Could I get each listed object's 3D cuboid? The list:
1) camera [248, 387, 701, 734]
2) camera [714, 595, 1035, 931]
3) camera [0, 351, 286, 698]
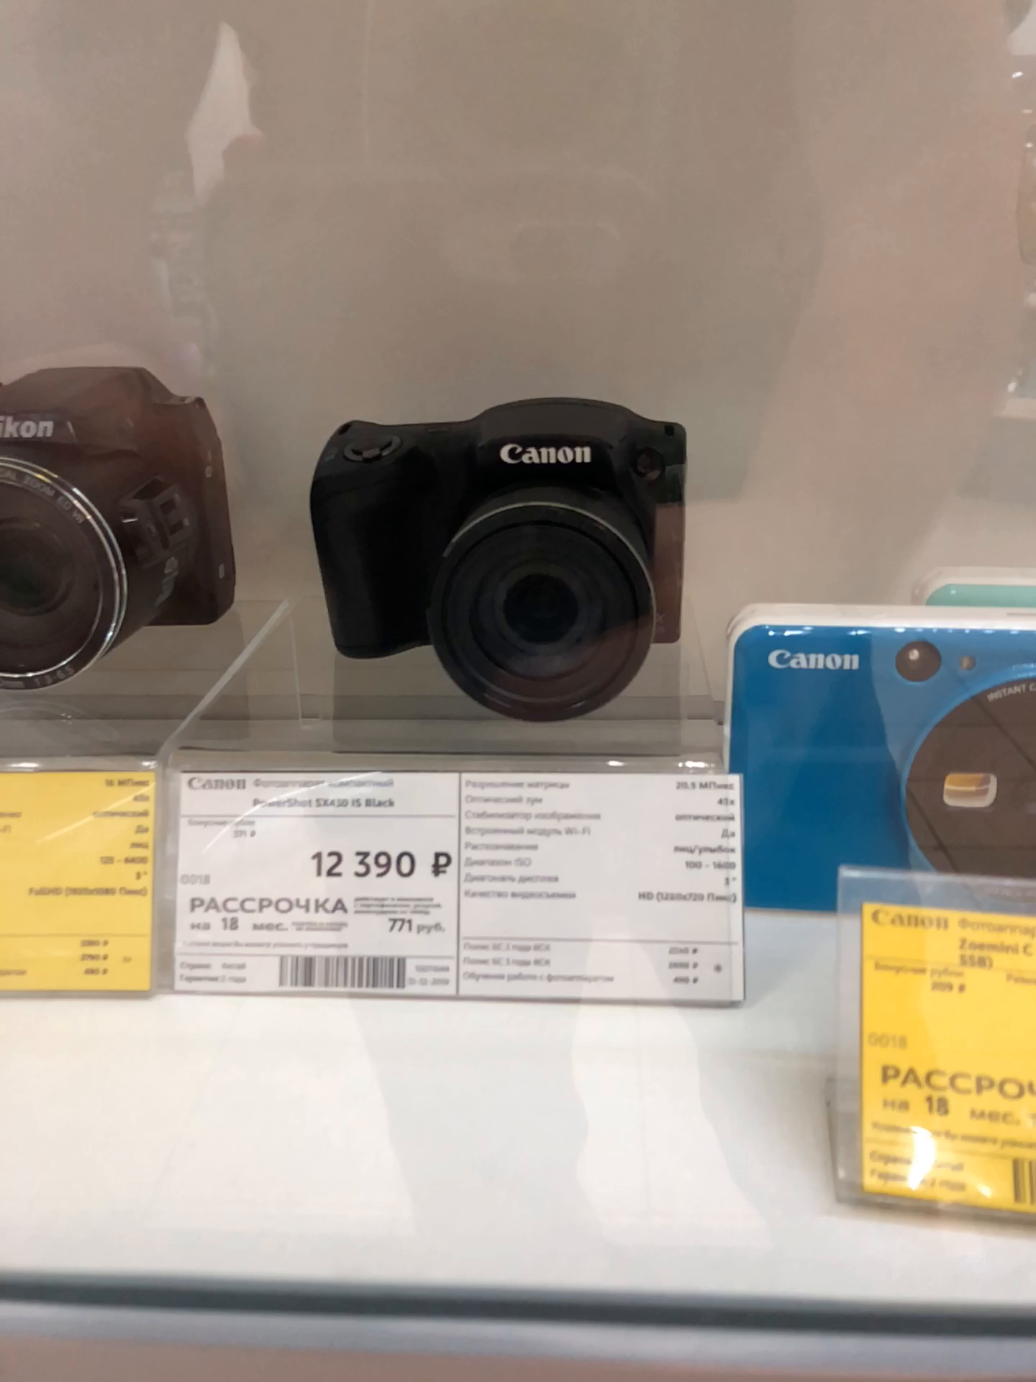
[{"bbox_3d":[-0.005,-0.040,0.306,0.100,0.070,0.093,1,21,5],"label":"camera"},{"bbox_3d":[0.110,0.016,0.281,0.118,0.073,0.028,1,20,8],"label":"camera"},{"bbox_3d":[-0.128,-0.050,0.310,0.100,0.073,0.093,1,21,5],"label":"camera"}]
